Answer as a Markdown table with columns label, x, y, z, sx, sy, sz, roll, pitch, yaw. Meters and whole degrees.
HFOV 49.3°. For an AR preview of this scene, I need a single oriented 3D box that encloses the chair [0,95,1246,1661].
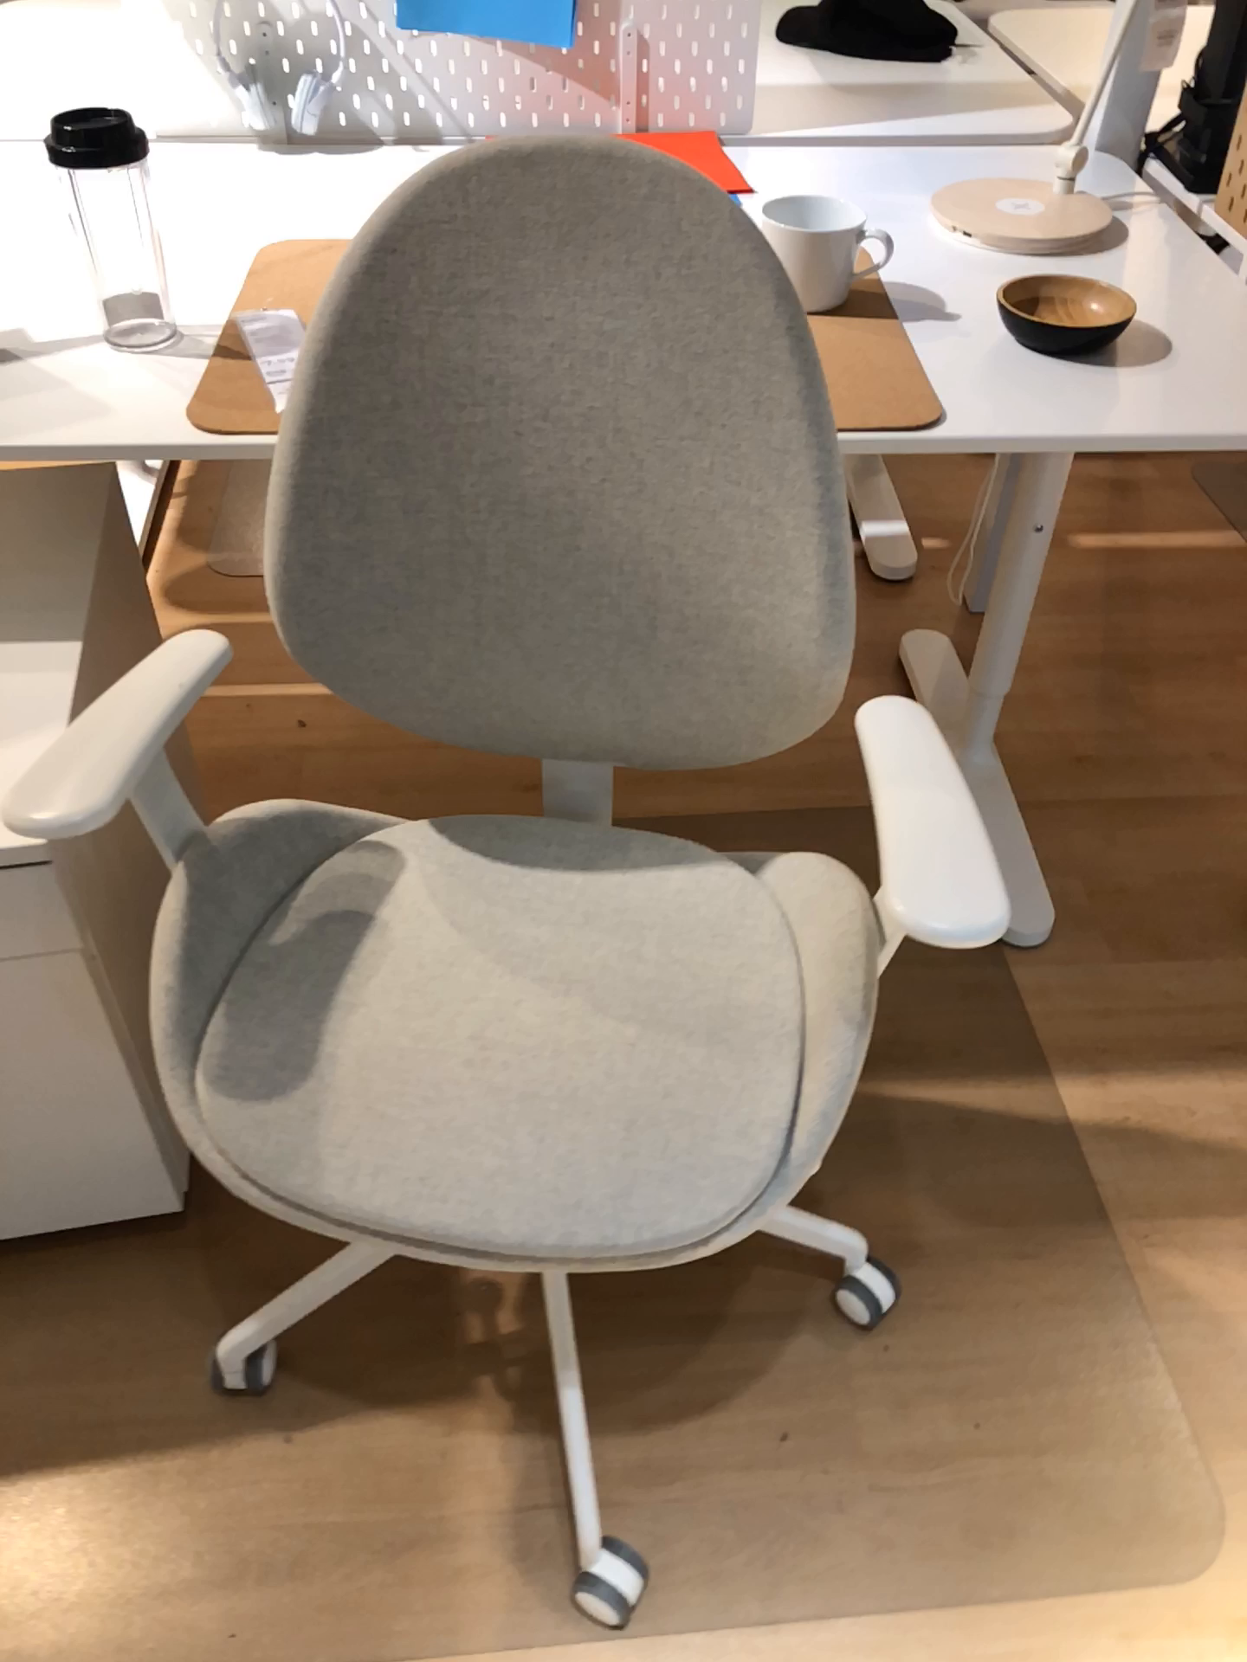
| label | x | y | z | sx | sy | sz | roll | pitch | yaw |
| --- | --- | --- | --- | --- | --- | --- | --- | --- | --- |
| chair | -0.043 | 0.051 | 1.044 | 0.650 | 0.914 | 0.705 | 7 | 43 | 6 |
